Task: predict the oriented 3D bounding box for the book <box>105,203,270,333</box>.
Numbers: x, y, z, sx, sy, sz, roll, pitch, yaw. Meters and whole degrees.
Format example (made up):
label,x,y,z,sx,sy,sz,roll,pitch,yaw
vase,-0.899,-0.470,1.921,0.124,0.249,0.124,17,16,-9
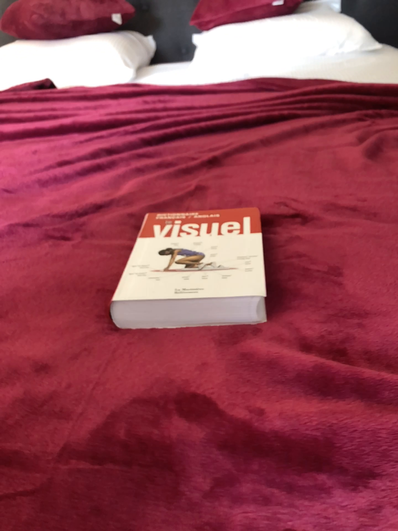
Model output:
label,x,y,z,sx,sy,sz,roll,pitch,yaw
book,-0.002,-0.006,0.460,0.140,0.039,0.181,-2,32,7
